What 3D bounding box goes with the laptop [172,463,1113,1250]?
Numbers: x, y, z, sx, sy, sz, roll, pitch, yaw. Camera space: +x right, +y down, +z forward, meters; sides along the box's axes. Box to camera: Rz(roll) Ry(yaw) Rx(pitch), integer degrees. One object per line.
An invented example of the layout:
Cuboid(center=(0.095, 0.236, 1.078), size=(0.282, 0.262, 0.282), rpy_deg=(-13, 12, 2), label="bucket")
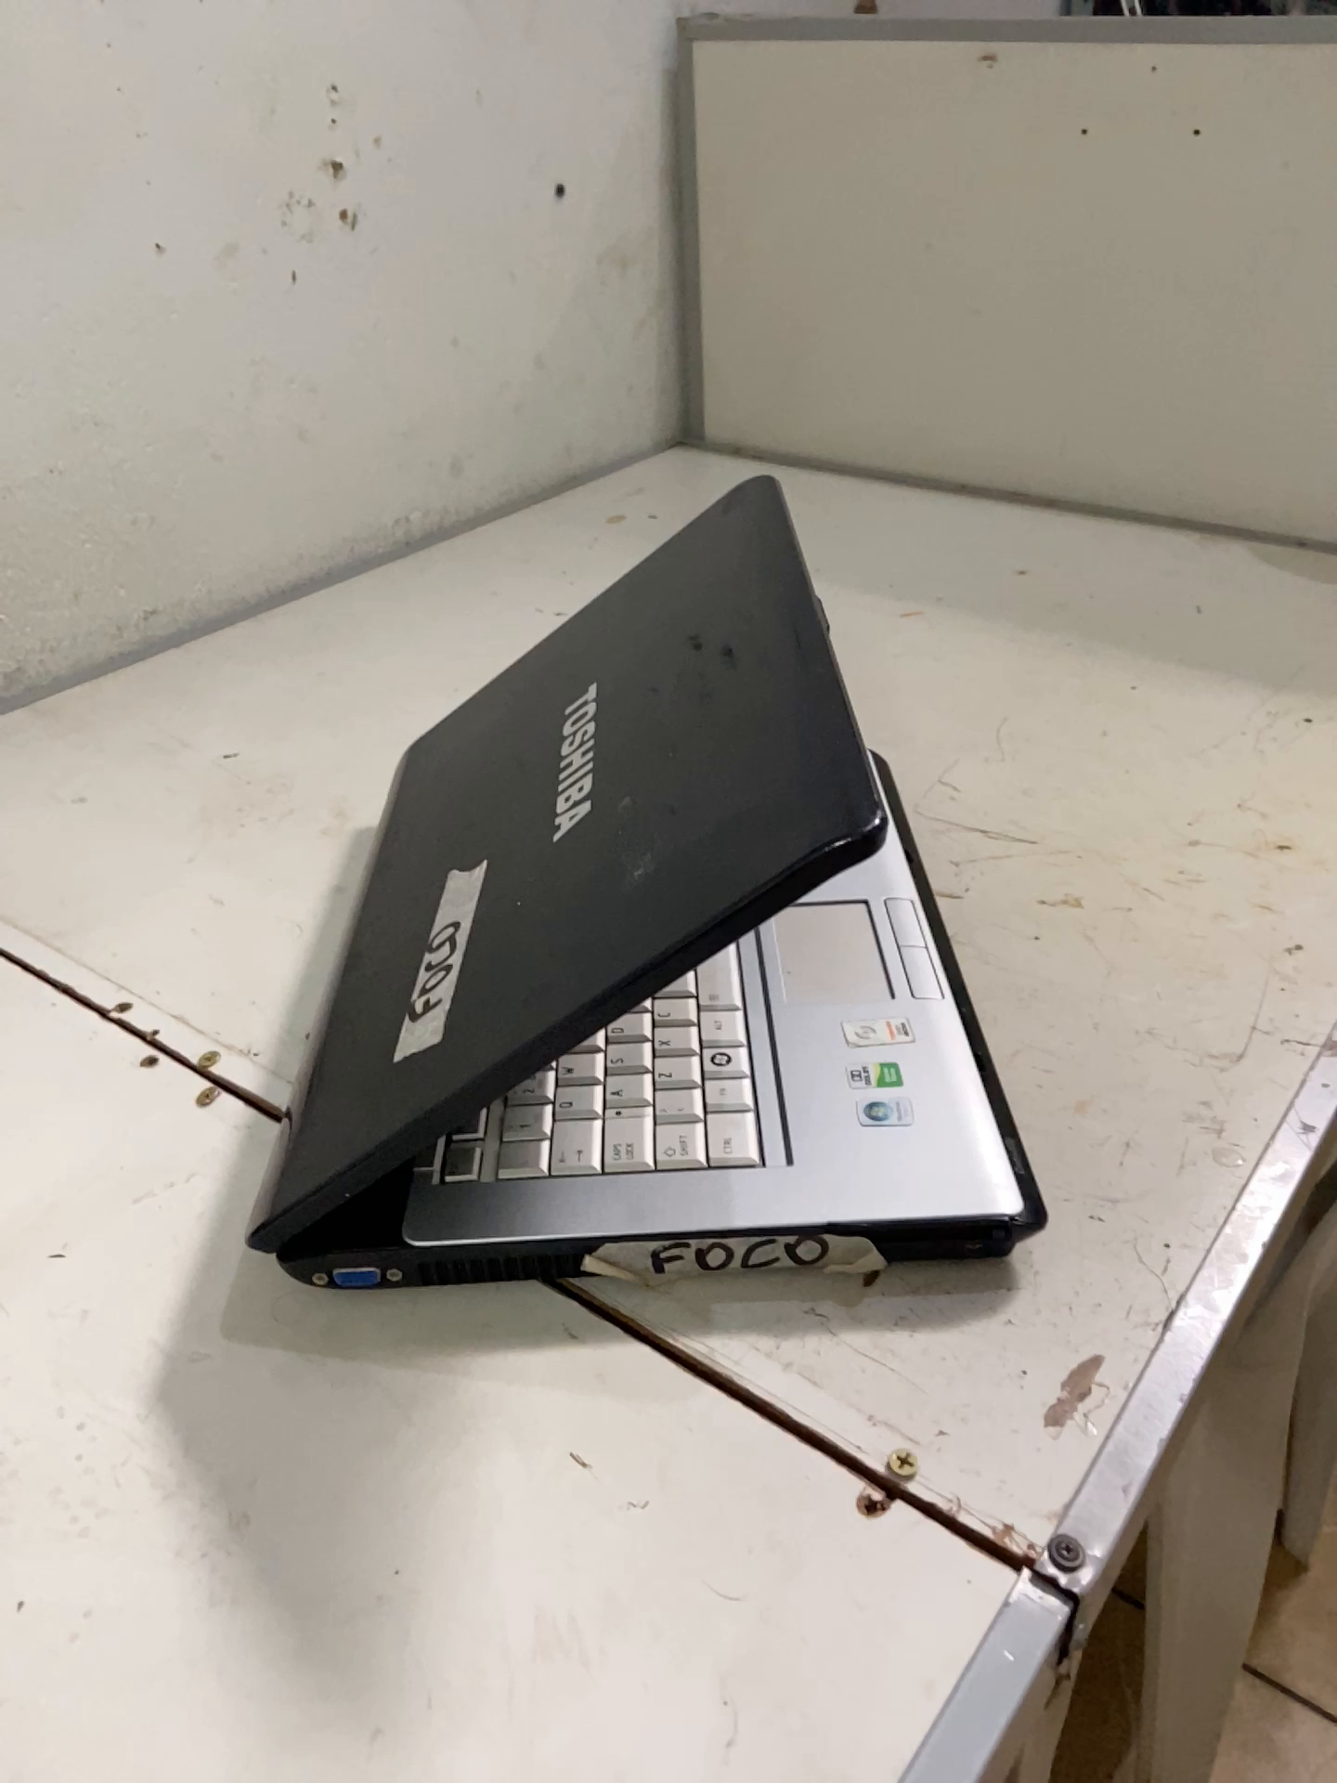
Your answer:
Cuboid(center=(-0.010, -0.044, 0.561), size=(0.257, 0.152, 0.348), rpy_deg=(-3, 32, 0), label="laptop")
